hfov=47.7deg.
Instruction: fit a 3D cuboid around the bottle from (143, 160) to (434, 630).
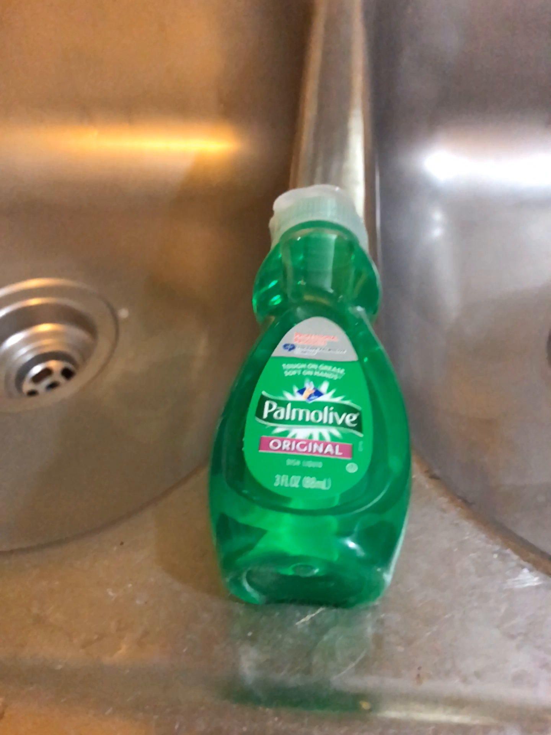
[{"bbox_3d":[0.007,-0.006,0.161,0.050,0.030,0.130,2,48,4],"label":"bottle"}]
